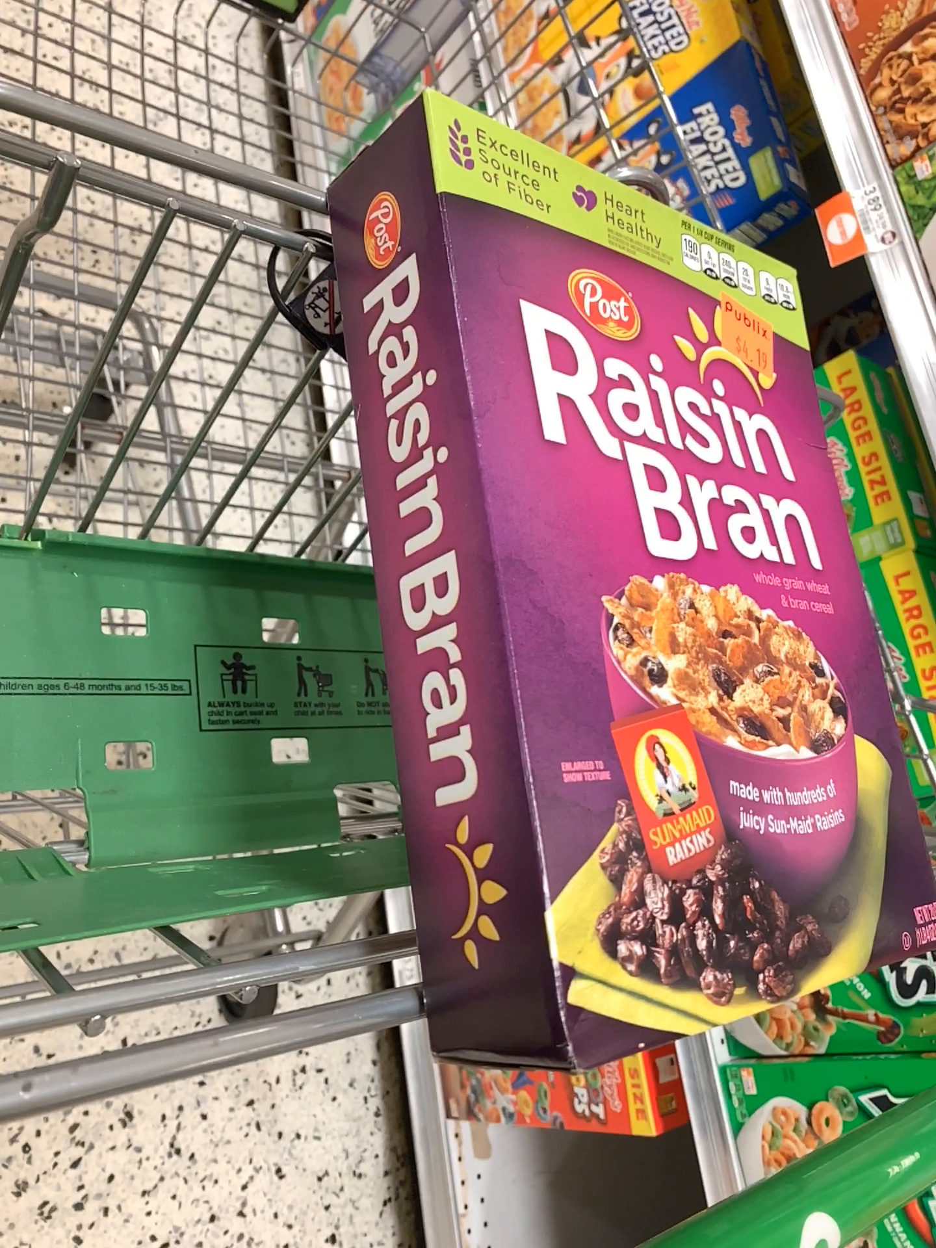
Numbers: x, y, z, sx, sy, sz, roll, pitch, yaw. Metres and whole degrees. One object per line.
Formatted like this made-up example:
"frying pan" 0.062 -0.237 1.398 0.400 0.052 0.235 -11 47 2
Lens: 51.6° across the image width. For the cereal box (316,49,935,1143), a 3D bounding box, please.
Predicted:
"cereal box" 0.070 -0.013 0.324 0.211 0.060 0.281 4 70 -39
